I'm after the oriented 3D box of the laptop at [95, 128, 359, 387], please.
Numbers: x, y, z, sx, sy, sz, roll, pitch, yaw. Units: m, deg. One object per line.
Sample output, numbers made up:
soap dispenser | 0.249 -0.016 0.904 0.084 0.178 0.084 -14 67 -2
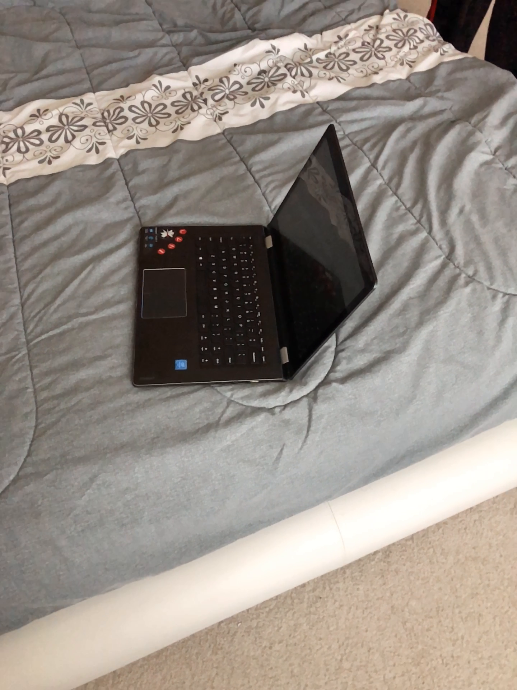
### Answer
laptop | -0.048 -0.152 0.946 0.351 0.214 0.362 -3 55 -3
